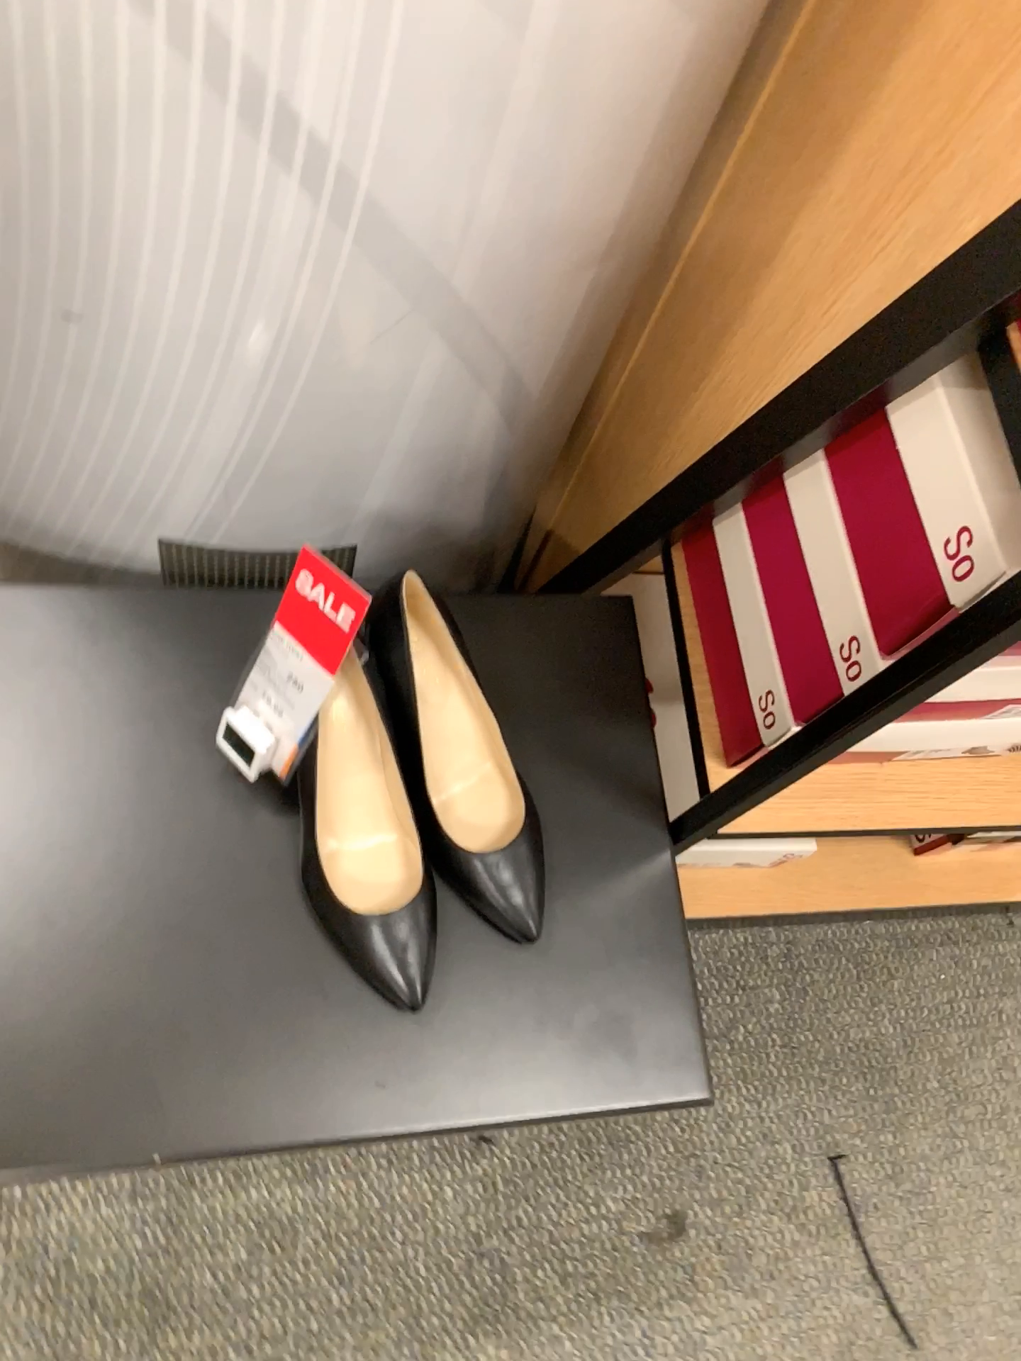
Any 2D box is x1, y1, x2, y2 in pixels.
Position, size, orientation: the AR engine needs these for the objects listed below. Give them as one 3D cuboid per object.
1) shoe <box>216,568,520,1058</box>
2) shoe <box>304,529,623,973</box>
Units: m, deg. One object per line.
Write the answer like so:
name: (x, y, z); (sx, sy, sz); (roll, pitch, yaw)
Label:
shoe: (-0.104, 0.091, 0.664); (0.100, 0.190, 0.250); (-14, 71, -19)
shoe: (-0.049, 0.057, 0.746); (0.100, 0.190, 0.250); (-20, 73, -21)
